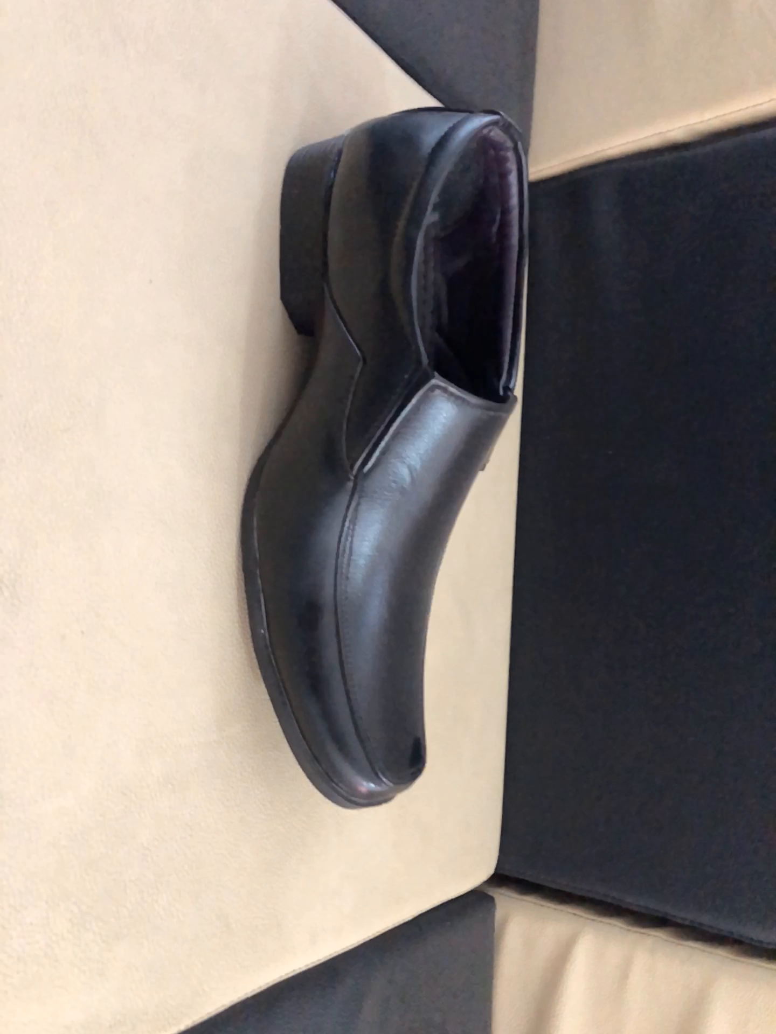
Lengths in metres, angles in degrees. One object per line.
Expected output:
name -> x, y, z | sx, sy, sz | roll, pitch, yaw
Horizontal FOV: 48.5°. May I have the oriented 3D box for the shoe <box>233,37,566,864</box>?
shoe -> 0.010, -0.023, 0.365 | 0.101, 0.089, 0.290 | 8, 82, -53
